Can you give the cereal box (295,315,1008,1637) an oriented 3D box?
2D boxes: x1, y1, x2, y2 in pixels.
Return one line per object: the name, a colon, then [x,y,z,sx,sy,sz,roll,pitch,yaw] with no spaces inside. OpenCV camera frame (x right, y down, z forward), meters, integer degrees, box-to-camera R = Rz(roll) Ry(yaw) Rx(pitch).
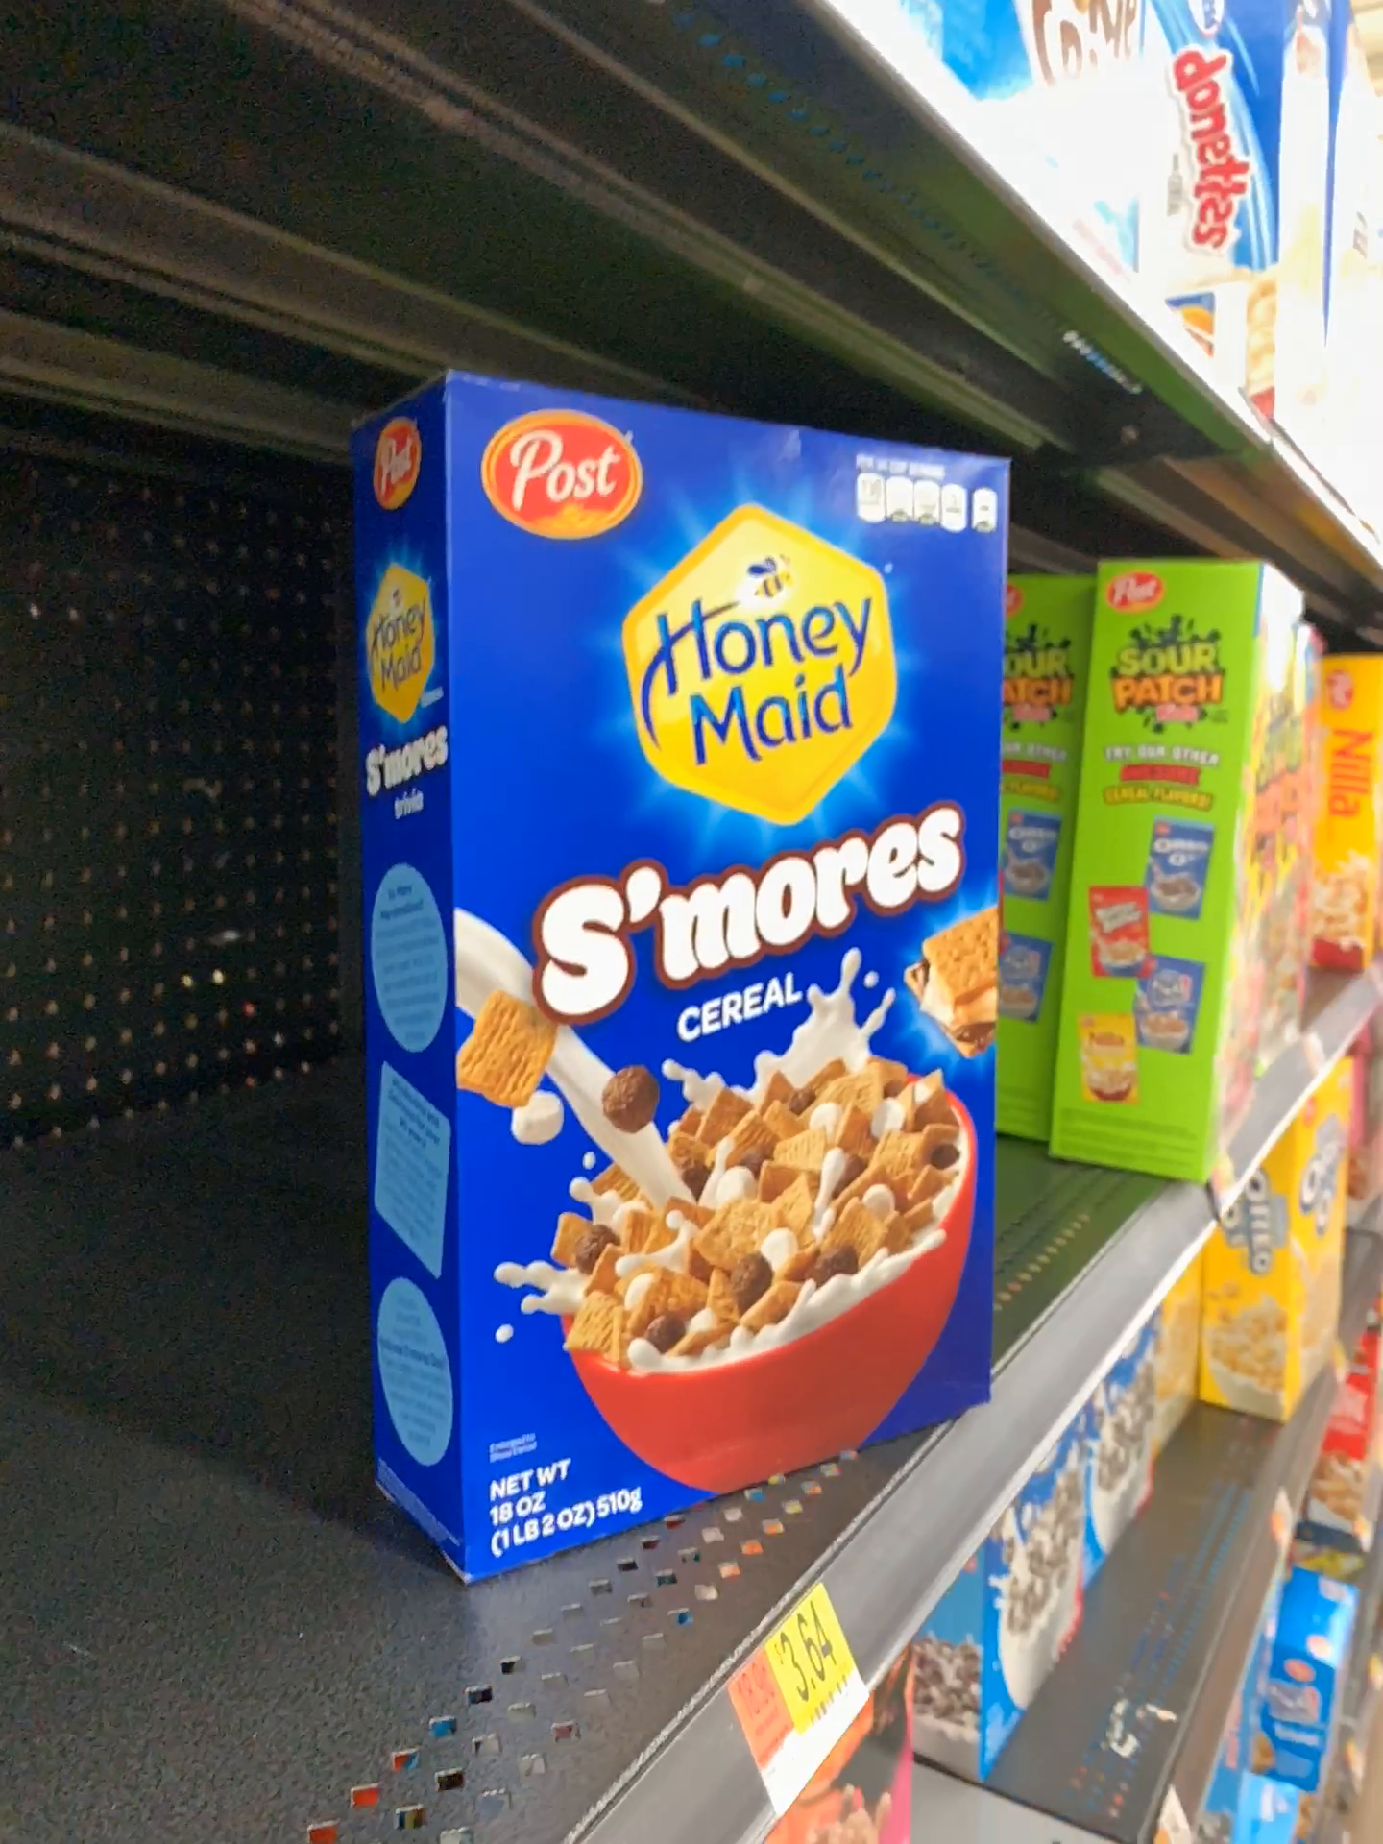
cereal box: [-0.005,0.011,0.429,0.200,0.320,0.070,-3,6,-34]
